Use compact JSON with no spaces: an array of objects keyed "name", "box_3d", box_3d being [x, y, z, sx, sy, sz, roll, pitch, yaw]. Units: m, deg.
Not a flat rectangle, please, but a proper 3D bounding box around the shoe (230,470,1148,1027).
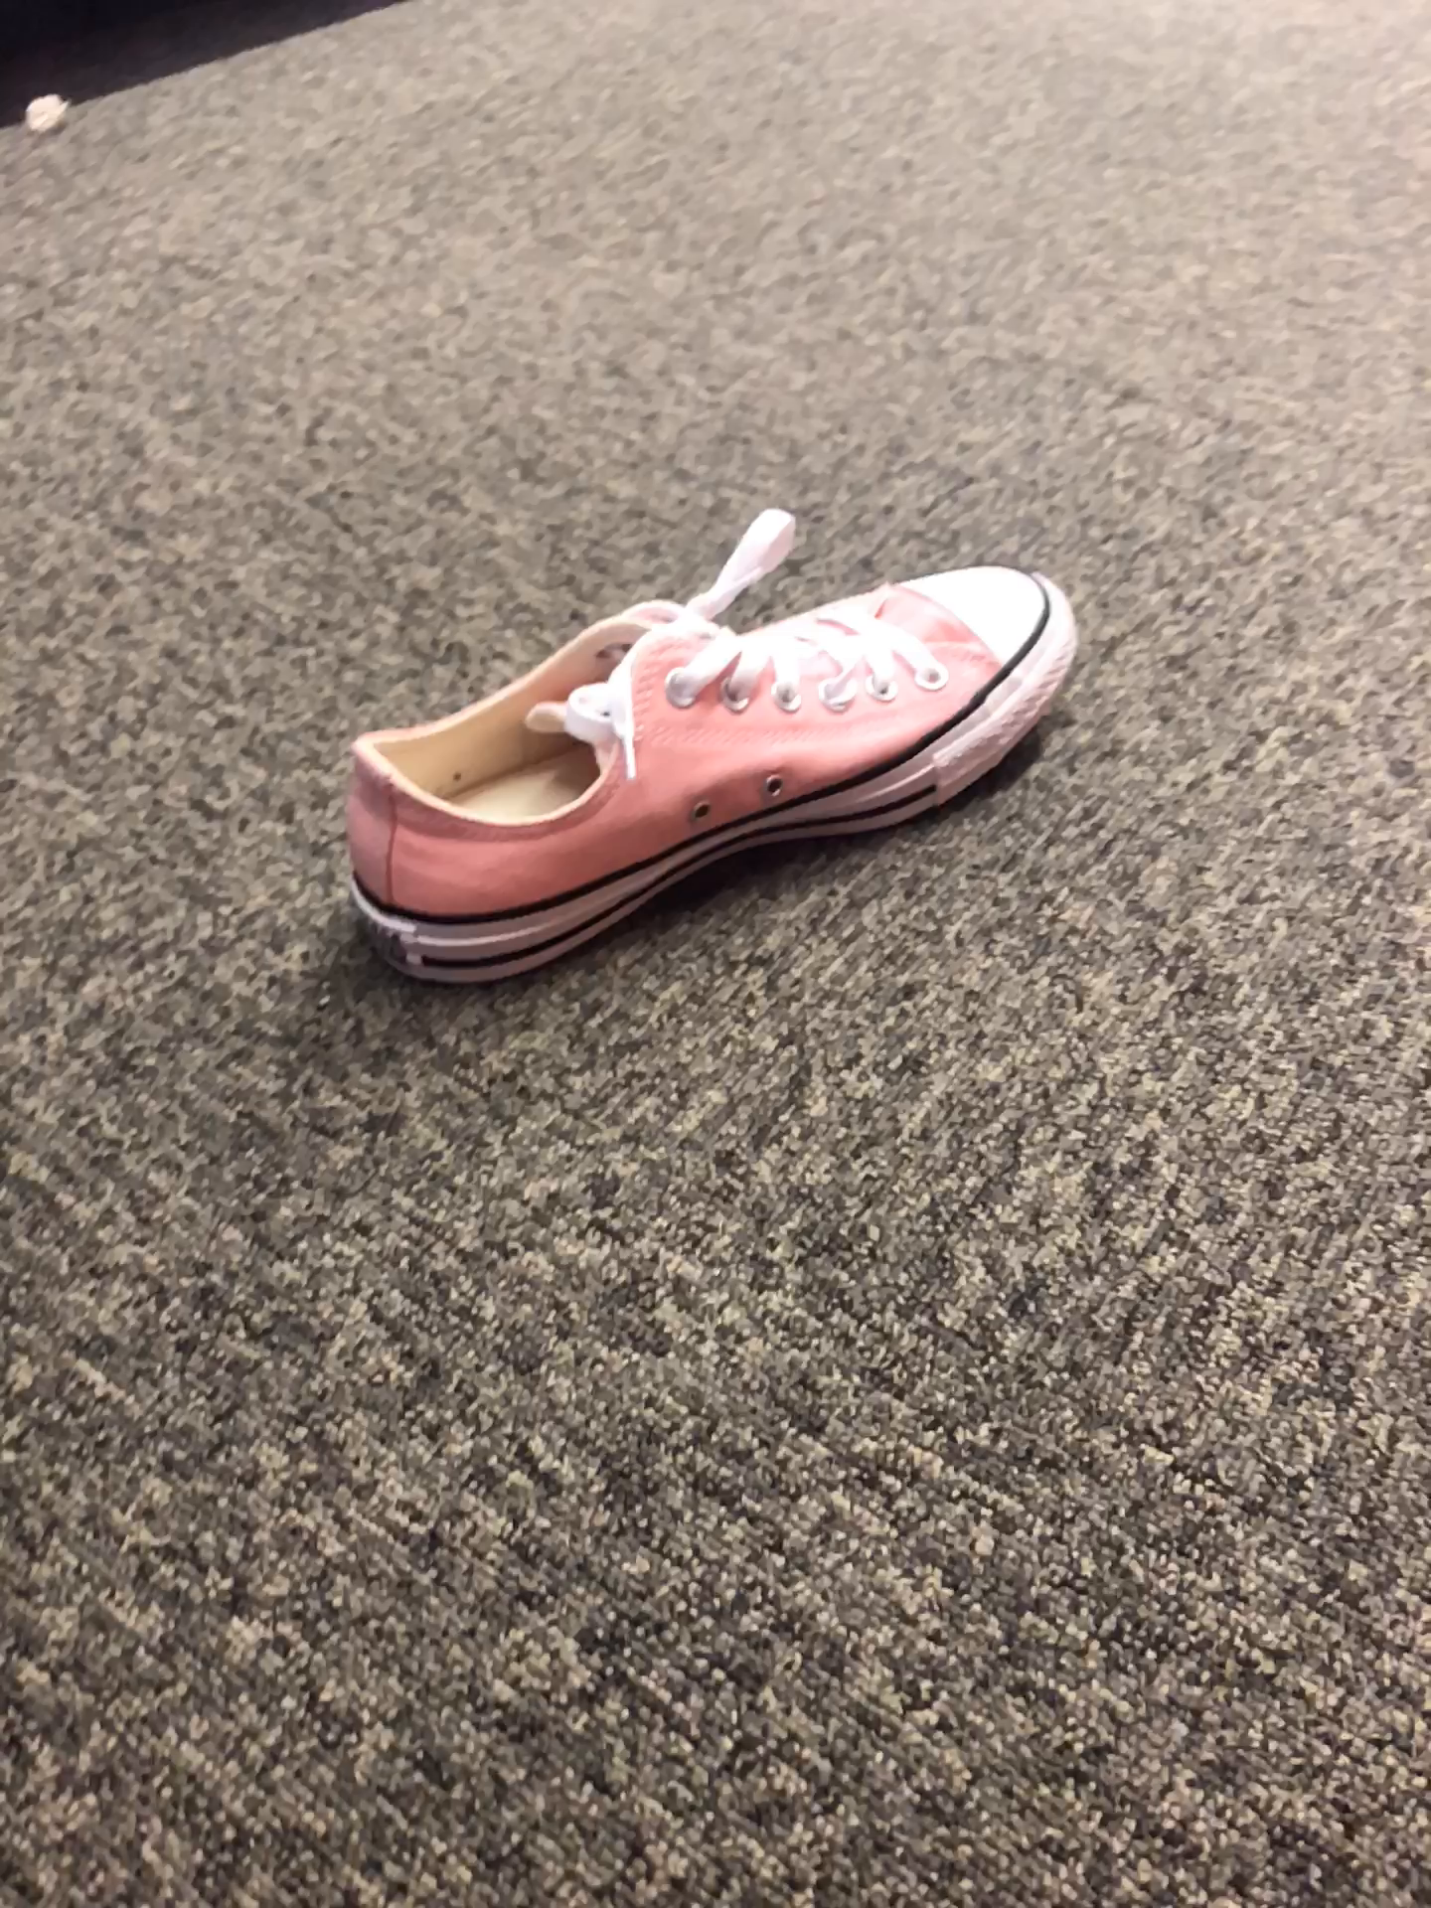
[{"name":"shoe","box_3d":[0.001,-0.080,0.512,0.281,0.060,0.100,-24,49,-28]}]
